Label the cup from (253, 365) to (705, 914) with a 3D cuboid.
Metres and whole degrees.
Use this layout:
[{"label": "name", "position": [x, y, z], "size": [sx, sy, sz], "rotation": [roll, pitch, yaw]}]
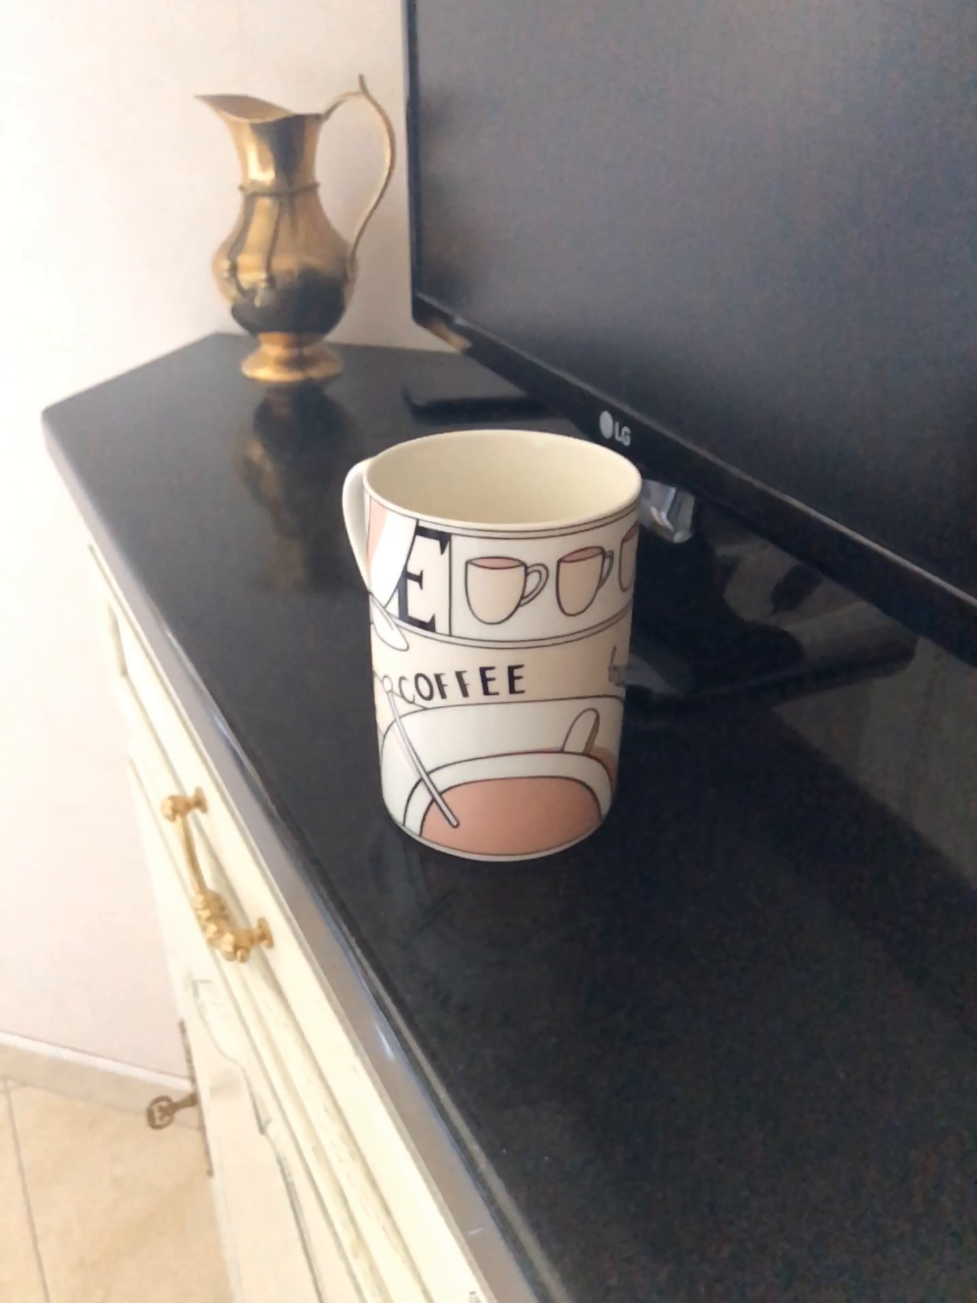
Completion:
[{"label": "cup", "position": [-0.007, -0.011, 0.314], "size": [0.070, 0.109, 0.110], "rotation": [-19, 34, -30]}]
